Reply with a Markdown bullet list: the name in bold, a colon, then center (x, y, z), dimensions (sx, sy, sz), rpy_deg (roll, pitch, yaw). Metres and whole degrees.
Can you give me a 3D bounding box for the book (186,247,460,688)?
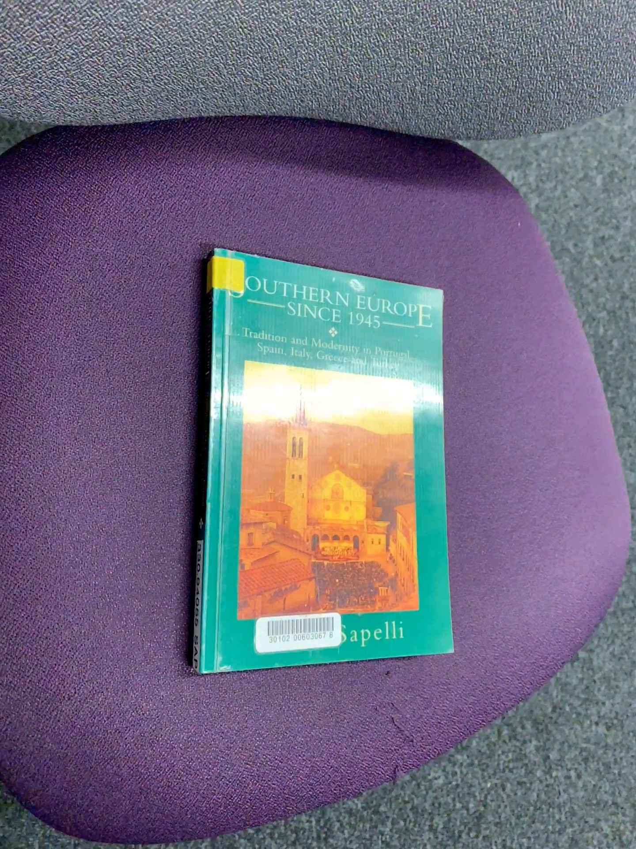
- **book**: center (0.008, 0.022, 0.368), dimensions (0.154, 0.020, 0.221), rpy_deg (4, 80, -25)
